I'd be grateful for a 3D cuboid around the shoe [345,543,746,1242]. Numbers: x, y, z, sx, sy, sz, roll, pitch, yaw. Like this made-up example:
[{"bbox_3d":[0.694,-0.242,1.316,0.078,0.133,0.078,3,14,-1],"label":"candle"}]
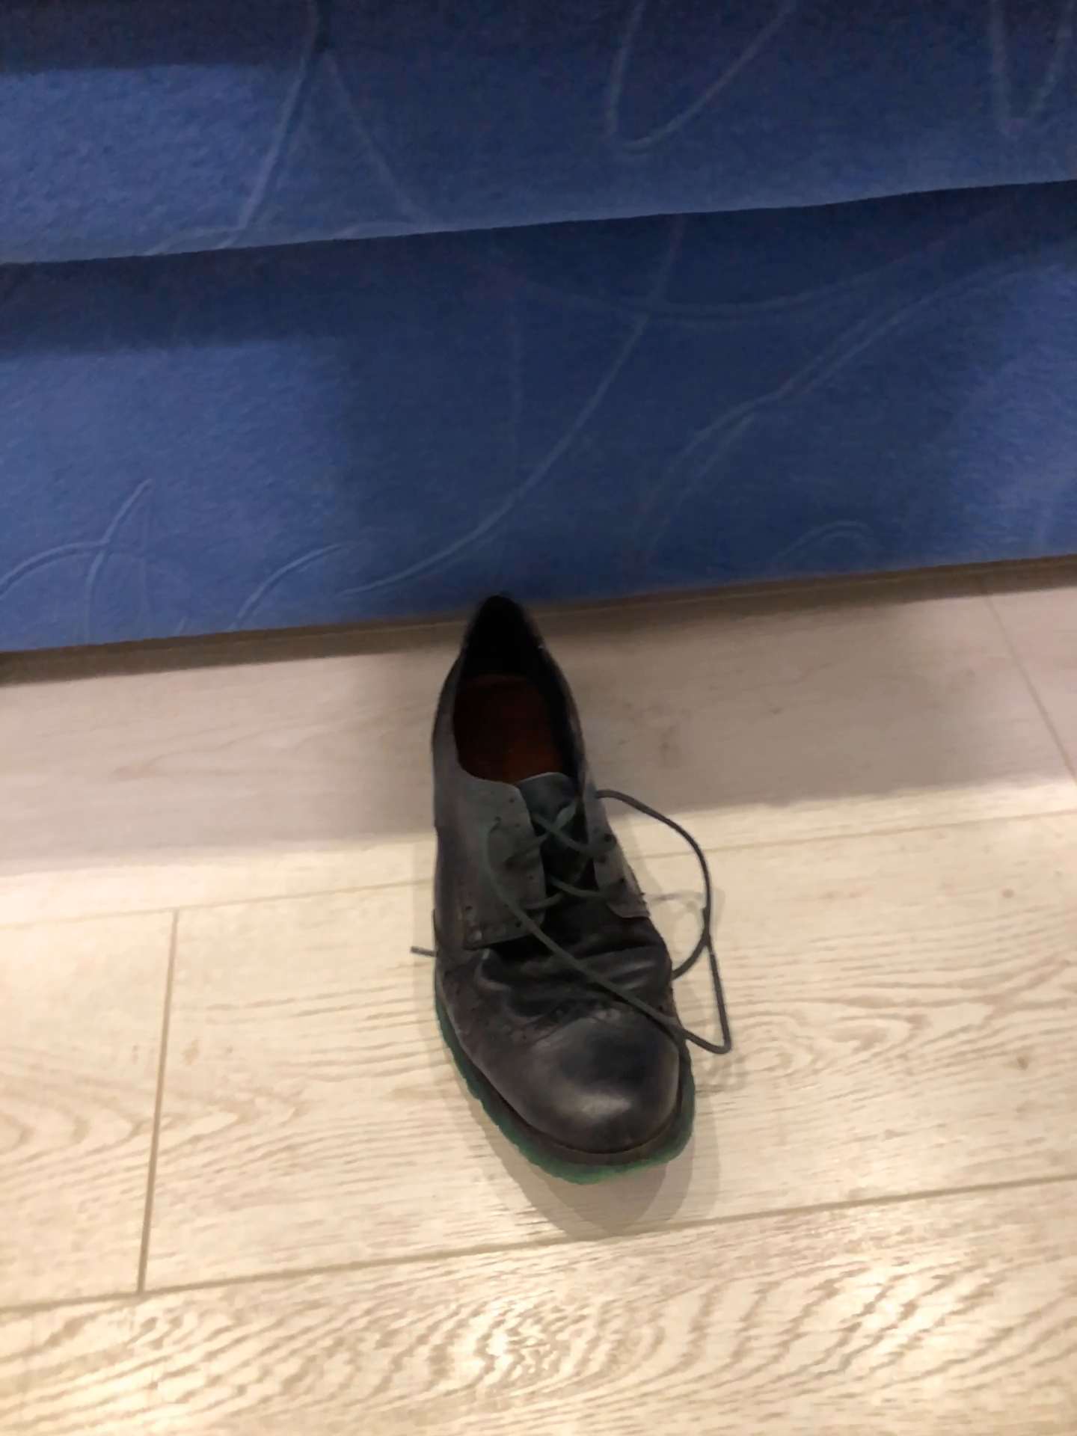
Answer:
[{"bbox_3d":[-0.009,0.055,0.470,0.095,0.089,0.251,-11,51,-7],"label":"shoe"}]
